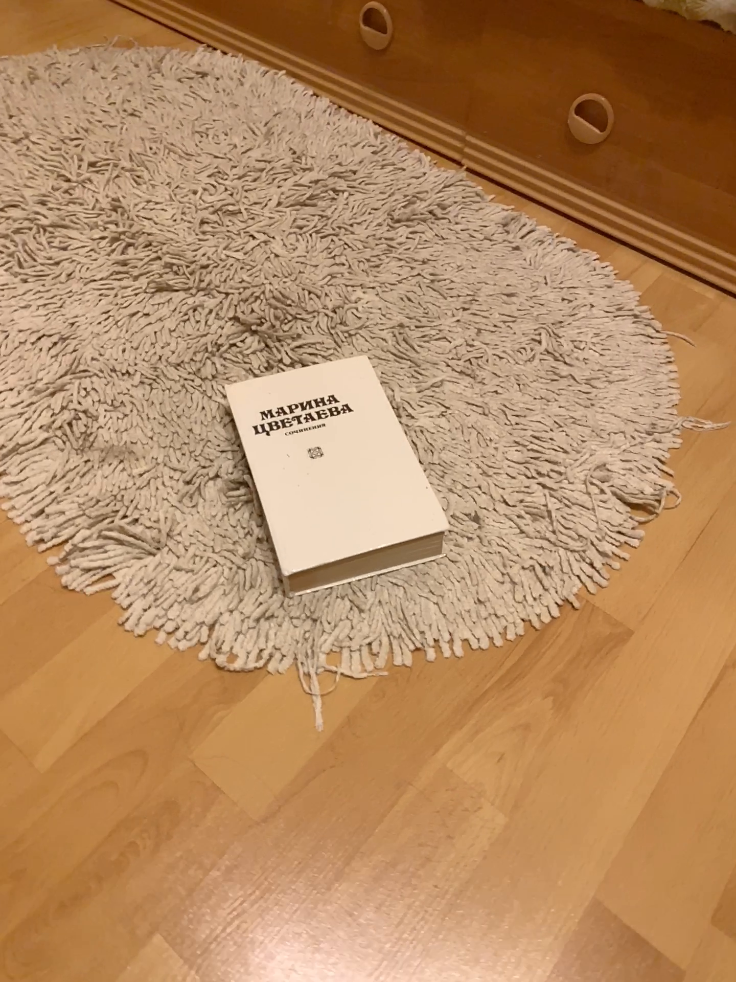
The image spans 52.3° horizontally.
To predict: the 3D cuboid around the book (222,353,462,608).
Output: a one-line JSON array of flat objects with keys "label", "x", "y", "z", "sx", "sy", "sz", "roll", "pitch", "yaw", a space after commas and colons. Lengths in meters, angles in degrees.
[{"label": "book", "x": -0.029, "y": -0.019, "z": 0.623, "sx": 0.140, "sy": 0.040, "sz": 0.209, "roll": -13, "pitch": 54, "yaw": -13}]
